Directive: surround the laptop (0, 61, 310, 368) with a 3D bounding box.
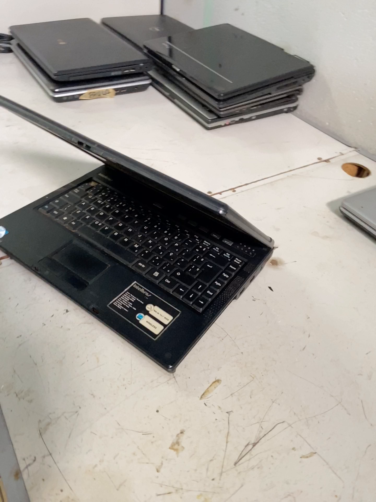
[{"bbox_3d":[-0.073,-0.076,0.474,0.324,0.168,0.236,29,48,23],"label":"laptop"}]
